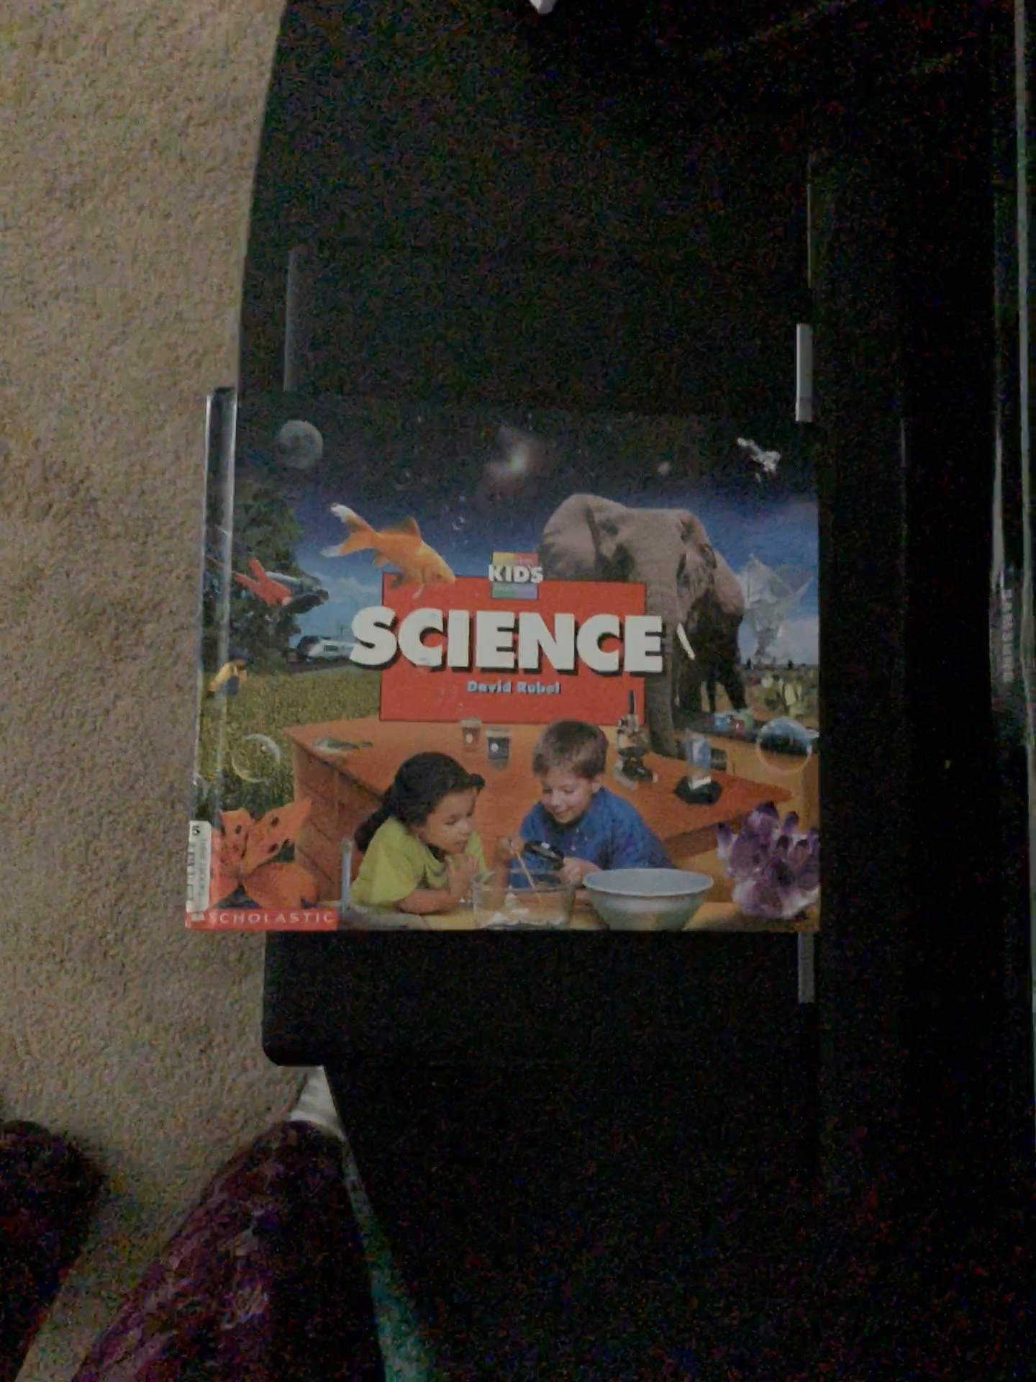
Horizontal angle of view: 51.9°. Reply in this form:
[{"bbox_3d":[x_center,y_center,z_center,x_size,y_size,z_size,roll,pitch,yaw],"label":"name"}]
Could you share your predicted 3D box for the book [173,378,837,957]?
[{"bbox_3d":[0.000,-0.008,0.472,0.280,0.030,0.240,2,86,-6],"label":"book"}]
